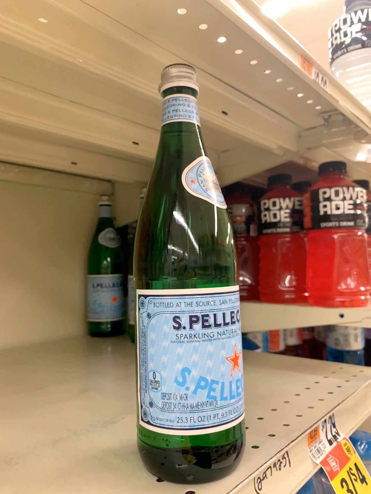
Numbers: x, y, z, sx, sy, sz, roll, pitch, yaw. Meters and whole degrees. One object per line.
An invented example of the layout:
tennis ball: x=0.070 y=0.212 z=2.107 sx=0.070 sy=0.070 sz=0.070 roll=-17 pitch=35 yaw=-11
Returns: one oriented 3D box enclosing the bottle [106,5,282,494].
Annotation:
bottle: x=0.006 y=0.004 z=0.284 sx=0.090 sy=0.290 sz=0.090 roll=0 pitch=-2 yaw=0
